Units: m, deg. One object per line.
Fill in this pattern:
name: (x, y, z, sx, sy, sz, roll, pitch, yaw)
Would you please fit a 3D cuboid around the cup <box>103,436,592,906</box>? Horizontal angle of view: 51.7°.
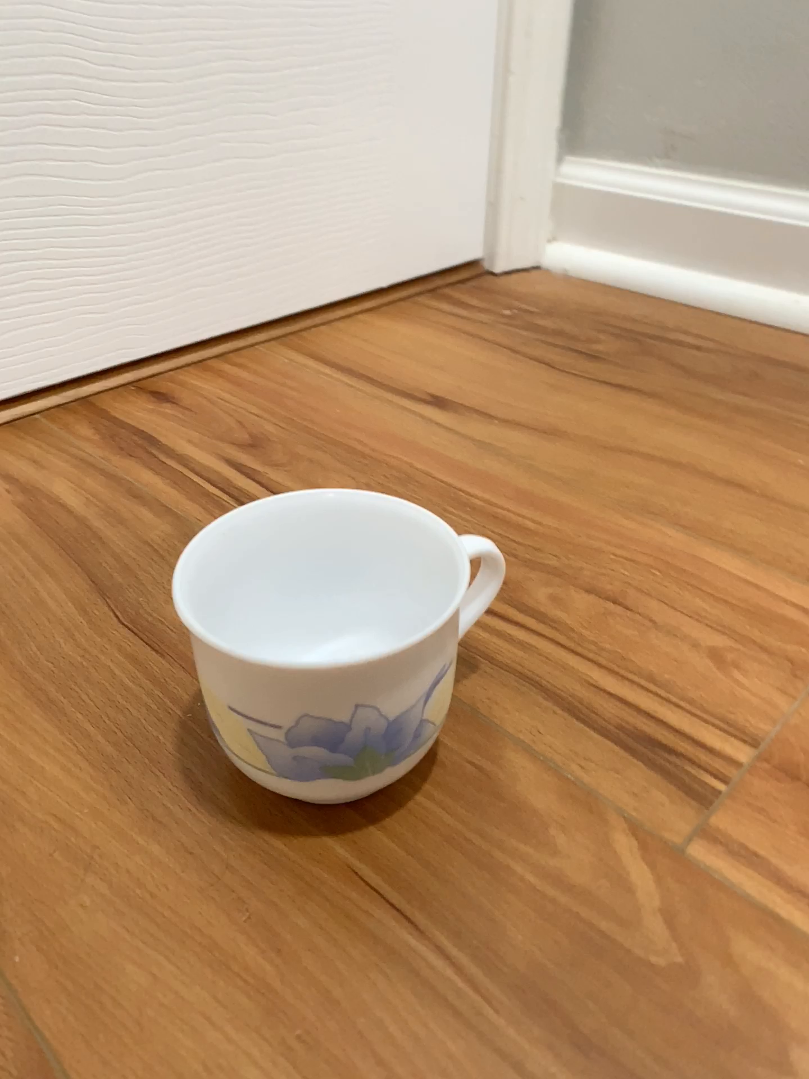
cup: (-0.015, 0.028, 0.244, 0.104, 0.063, 0.084, -25, 41, -33)
